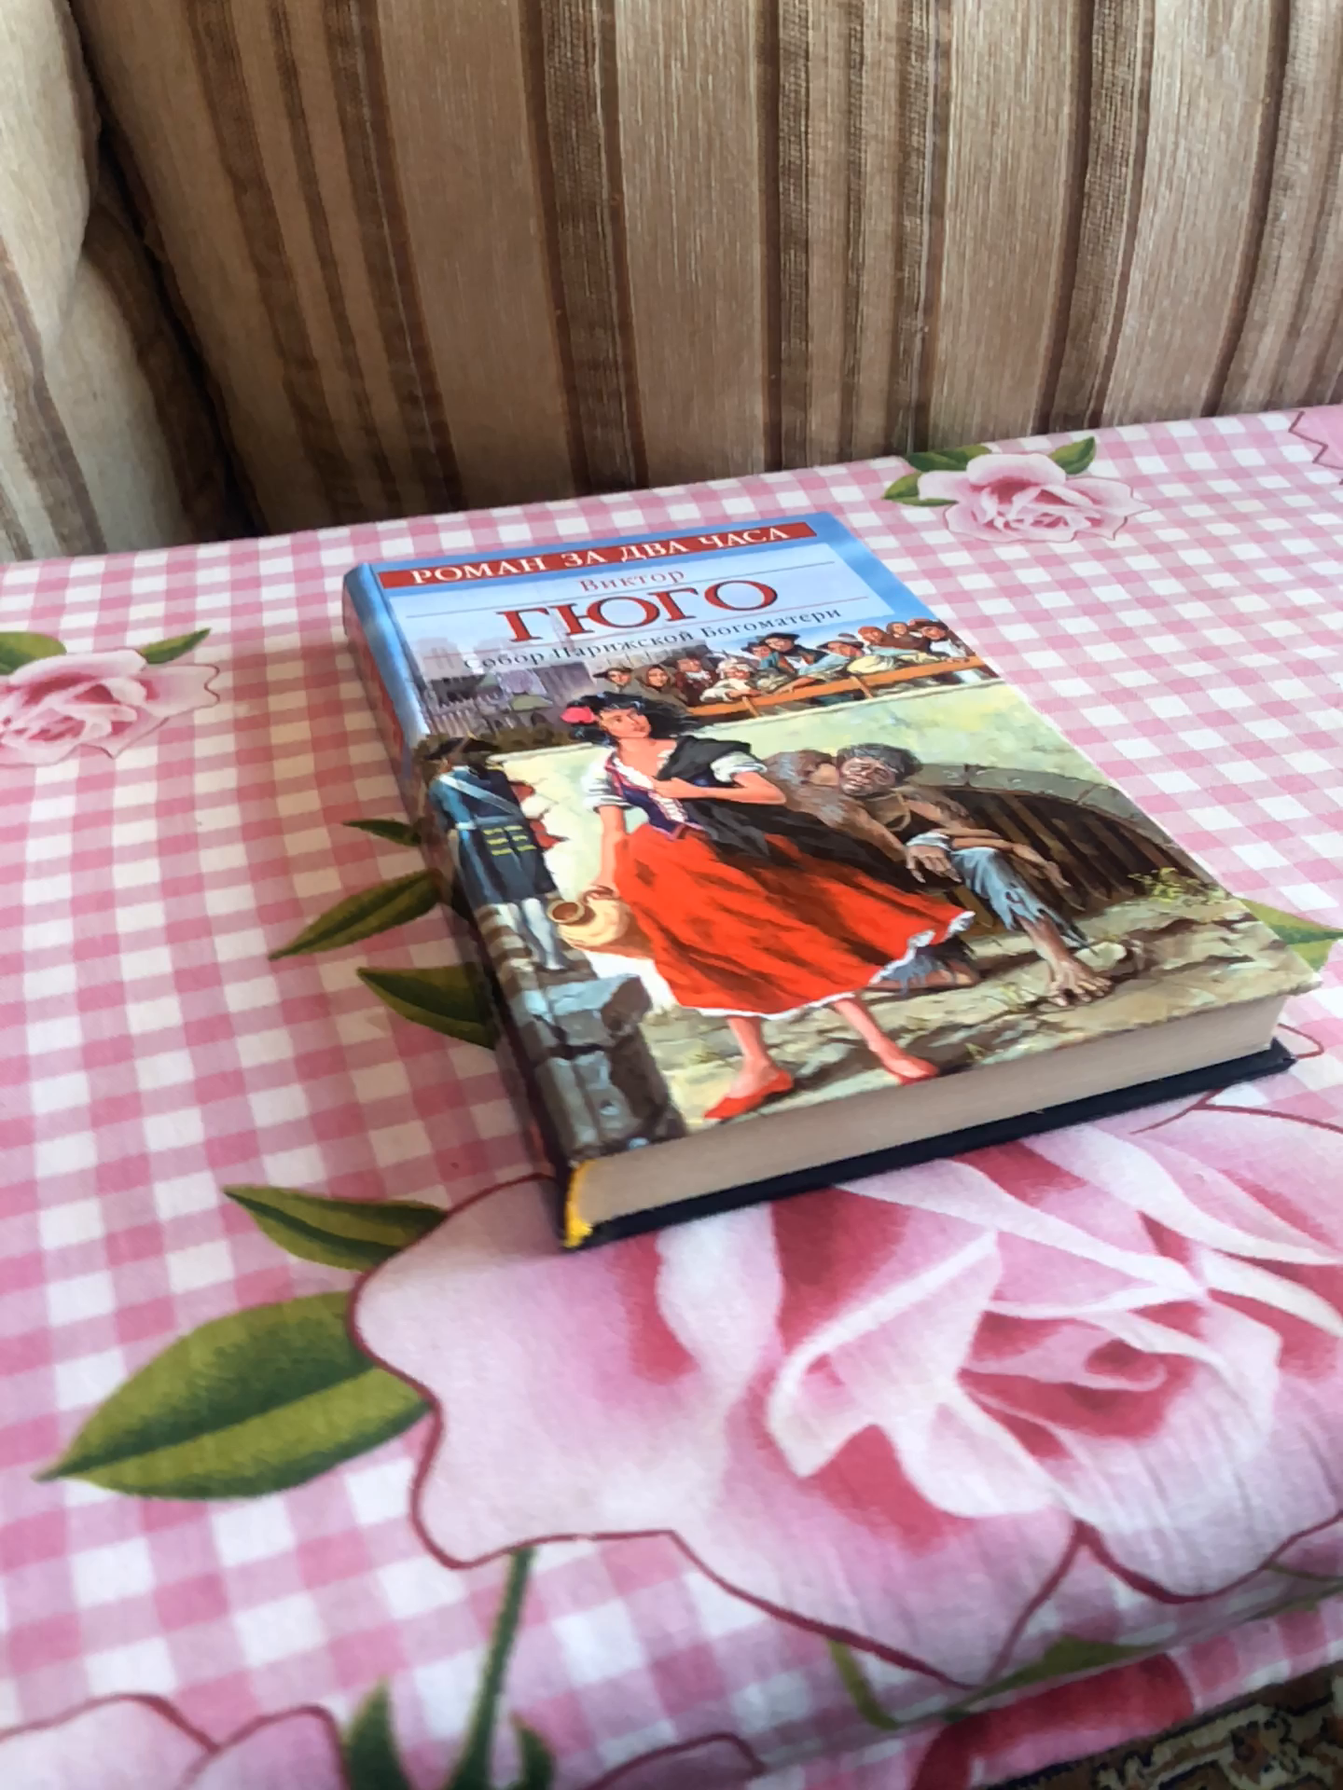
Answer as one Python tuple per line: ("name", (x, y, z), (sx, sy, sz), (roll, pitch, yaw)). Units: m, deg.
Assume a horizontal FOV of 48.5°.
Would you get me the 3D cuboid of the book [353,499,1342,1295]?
("book", (0.019, -0.023, 0.313), (0.136, 0.027, 0.207), (-11, 39, -15))
